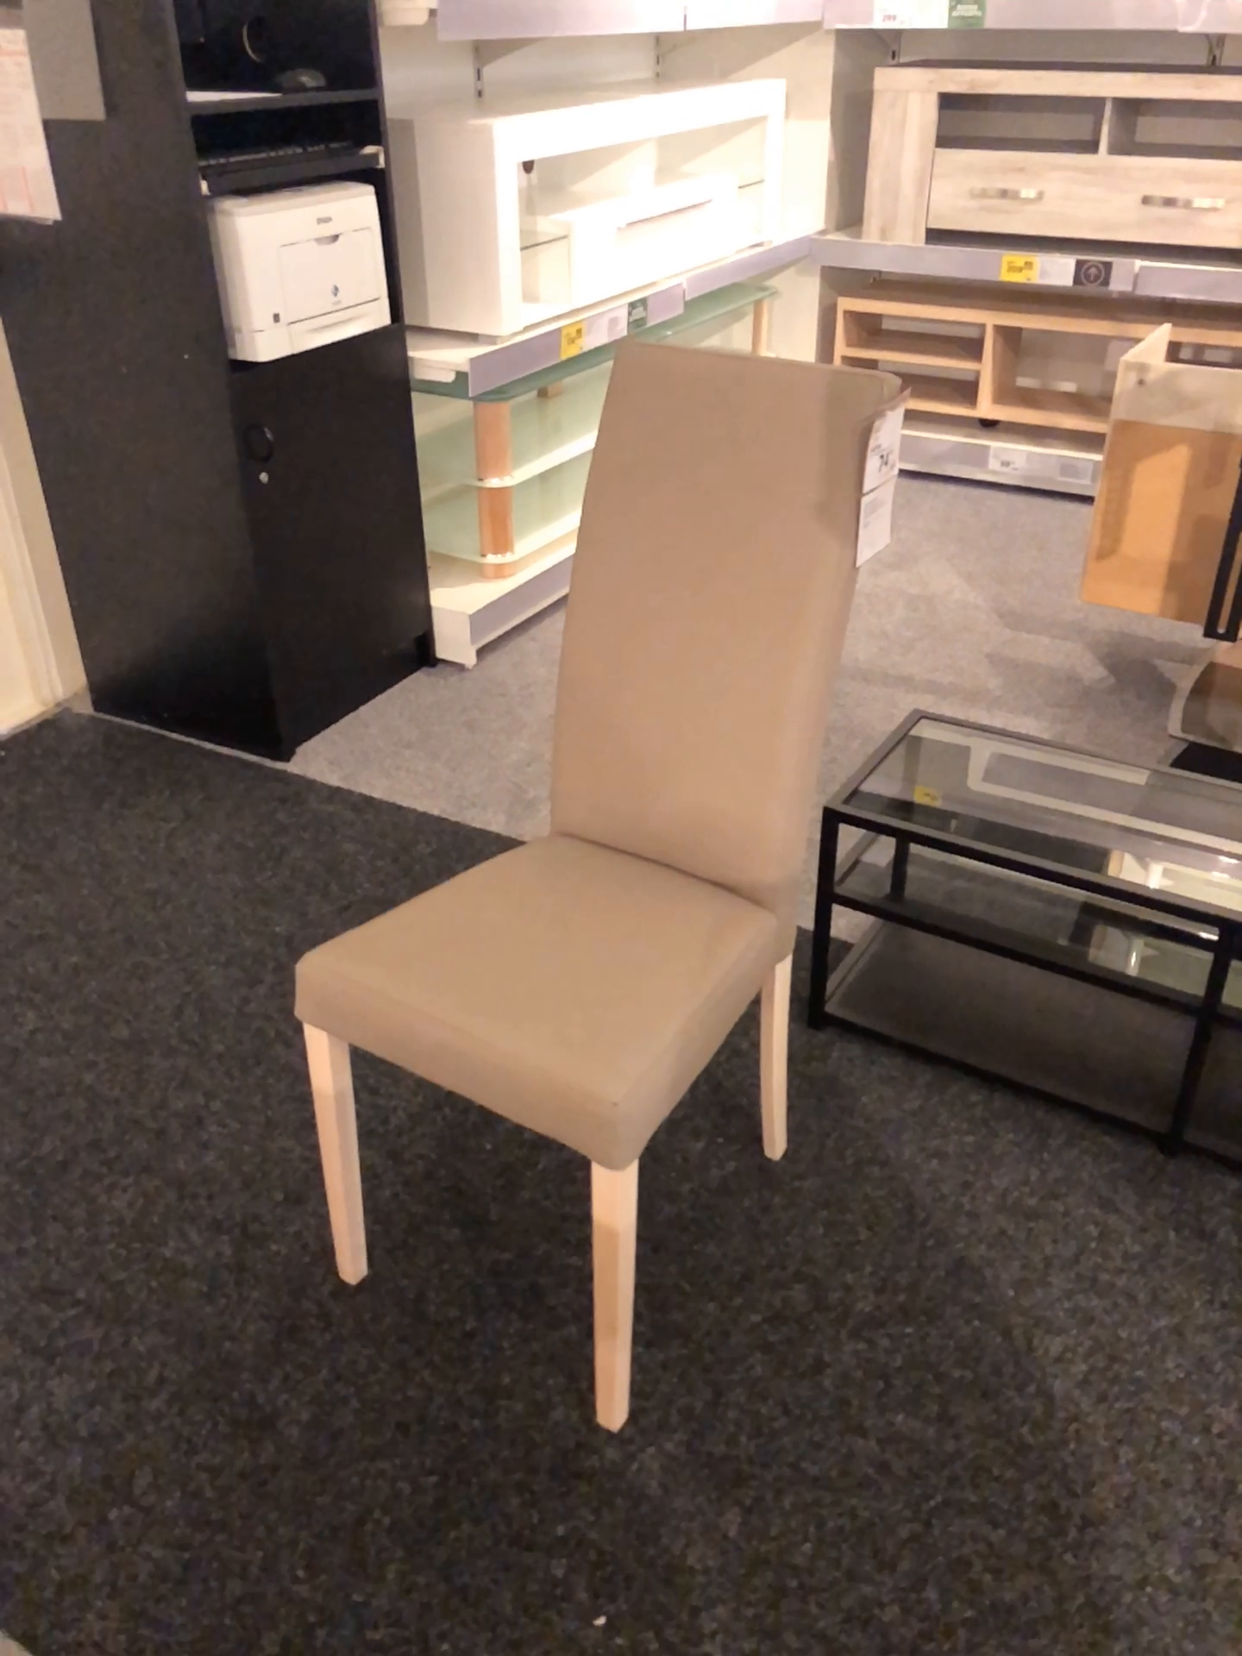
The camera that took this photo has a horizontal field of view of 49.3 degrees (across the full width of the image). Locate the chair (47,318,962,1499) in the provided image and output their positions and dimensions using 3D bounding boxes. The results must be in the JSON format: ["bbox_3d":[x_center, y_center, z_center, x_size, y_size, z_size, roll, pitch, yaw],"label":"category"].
[{"bbox_3d":[-0.065,0.034,1.431,0.530,0.945,0.634,18,35,28],"label":"chair"}]
